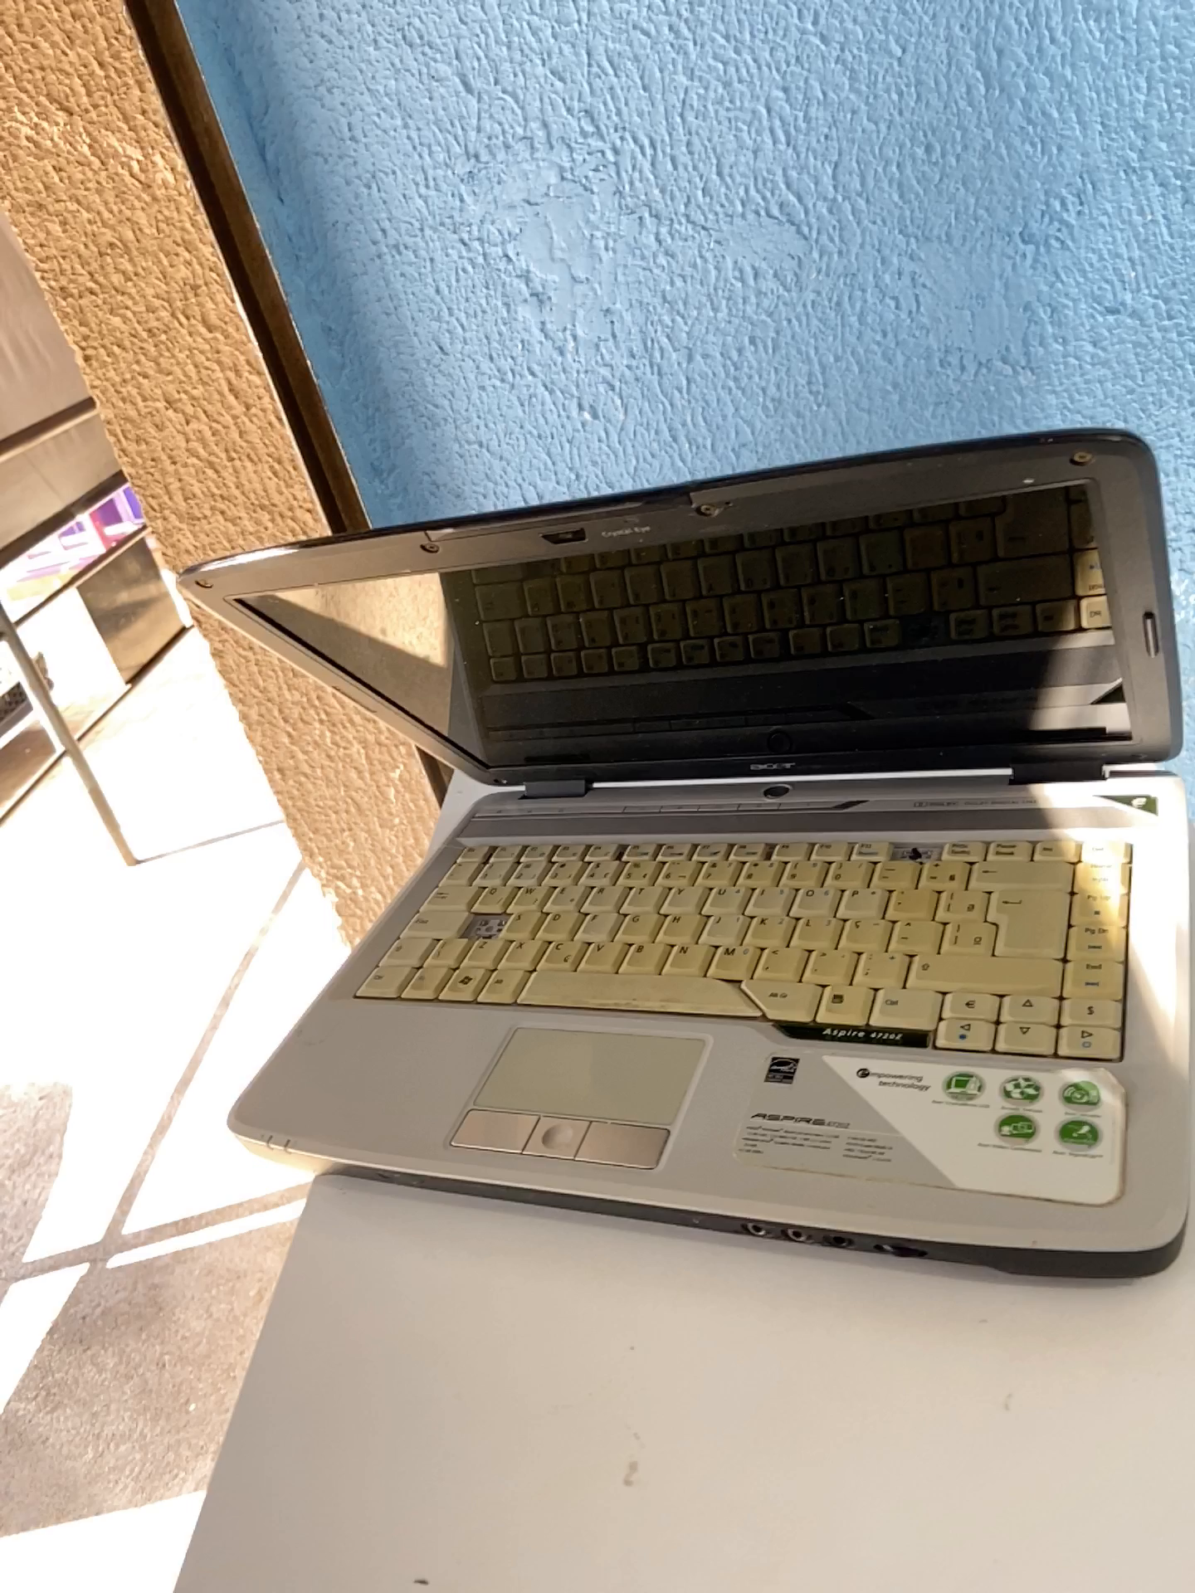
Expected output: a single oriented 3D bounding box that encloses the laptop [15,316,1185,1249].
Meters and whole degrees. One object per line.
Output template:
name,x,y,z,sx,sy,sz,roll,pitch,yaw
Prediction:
laptop,0.024,-0.017,0.440,0.328,0.180,0.226,-2,32,27
